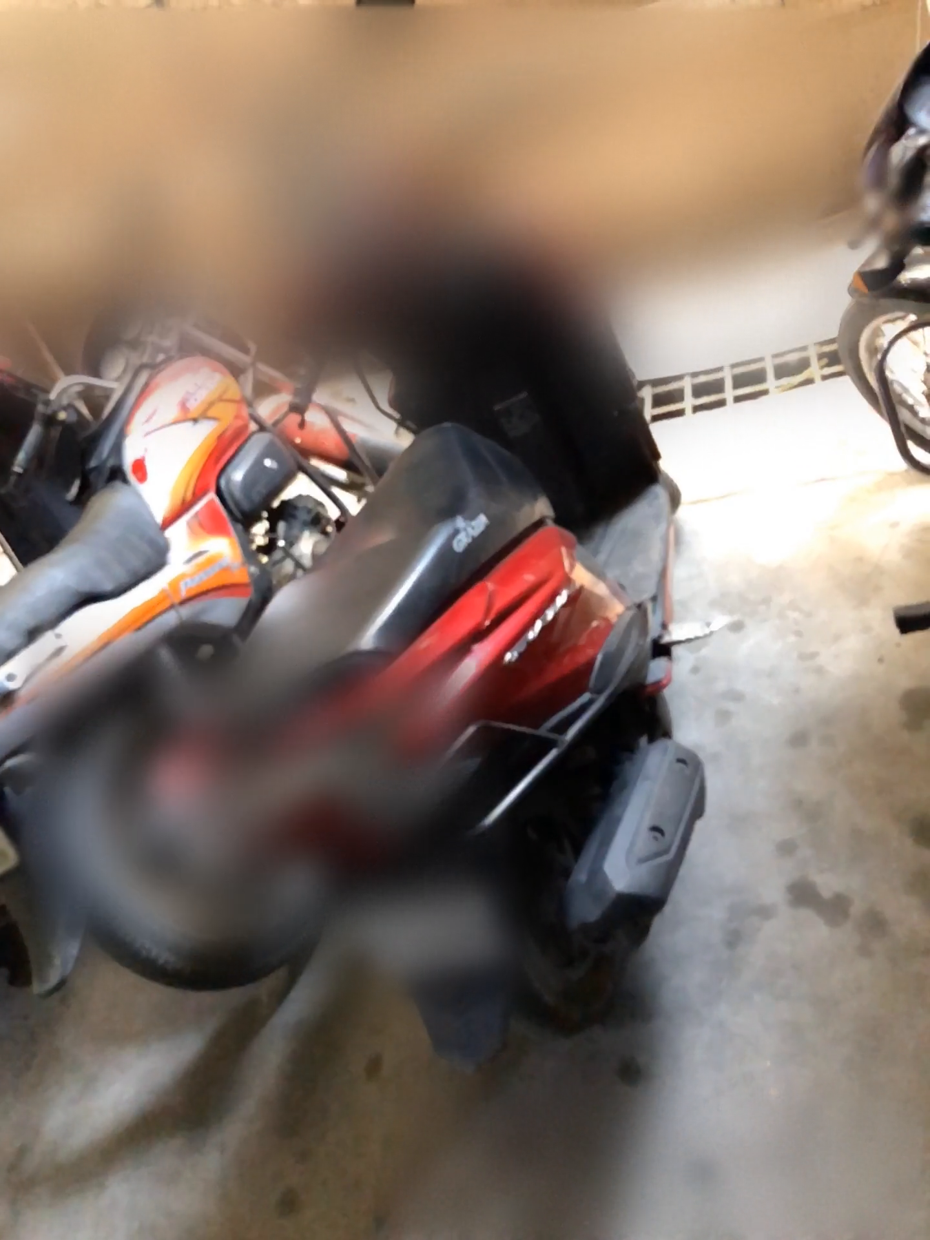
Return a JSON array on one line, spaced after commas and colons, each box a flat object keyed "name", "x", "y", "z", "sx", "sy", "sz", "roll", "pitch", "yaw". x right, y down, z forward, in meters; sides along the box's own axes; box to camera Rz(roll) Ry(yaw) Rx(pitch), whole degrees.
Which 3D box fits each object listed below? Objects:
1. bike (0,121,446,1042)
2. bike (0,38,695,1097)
[{"name": "bike", "x": -0.733, "y": -0.160, "z": 2.191, "sx": 0.839, "sy": 1.089, "sz": 1.657, "roll": -11, "pitch": 37, "yaw": 18}, {"name": "bike", "x": -0.062, "y": -0.143, "z": 1.843, "sx": 0.630, "sy": 1.140, "sz": 1.445, "roll": -11, "pitch": 39, "yaw": 18}]
